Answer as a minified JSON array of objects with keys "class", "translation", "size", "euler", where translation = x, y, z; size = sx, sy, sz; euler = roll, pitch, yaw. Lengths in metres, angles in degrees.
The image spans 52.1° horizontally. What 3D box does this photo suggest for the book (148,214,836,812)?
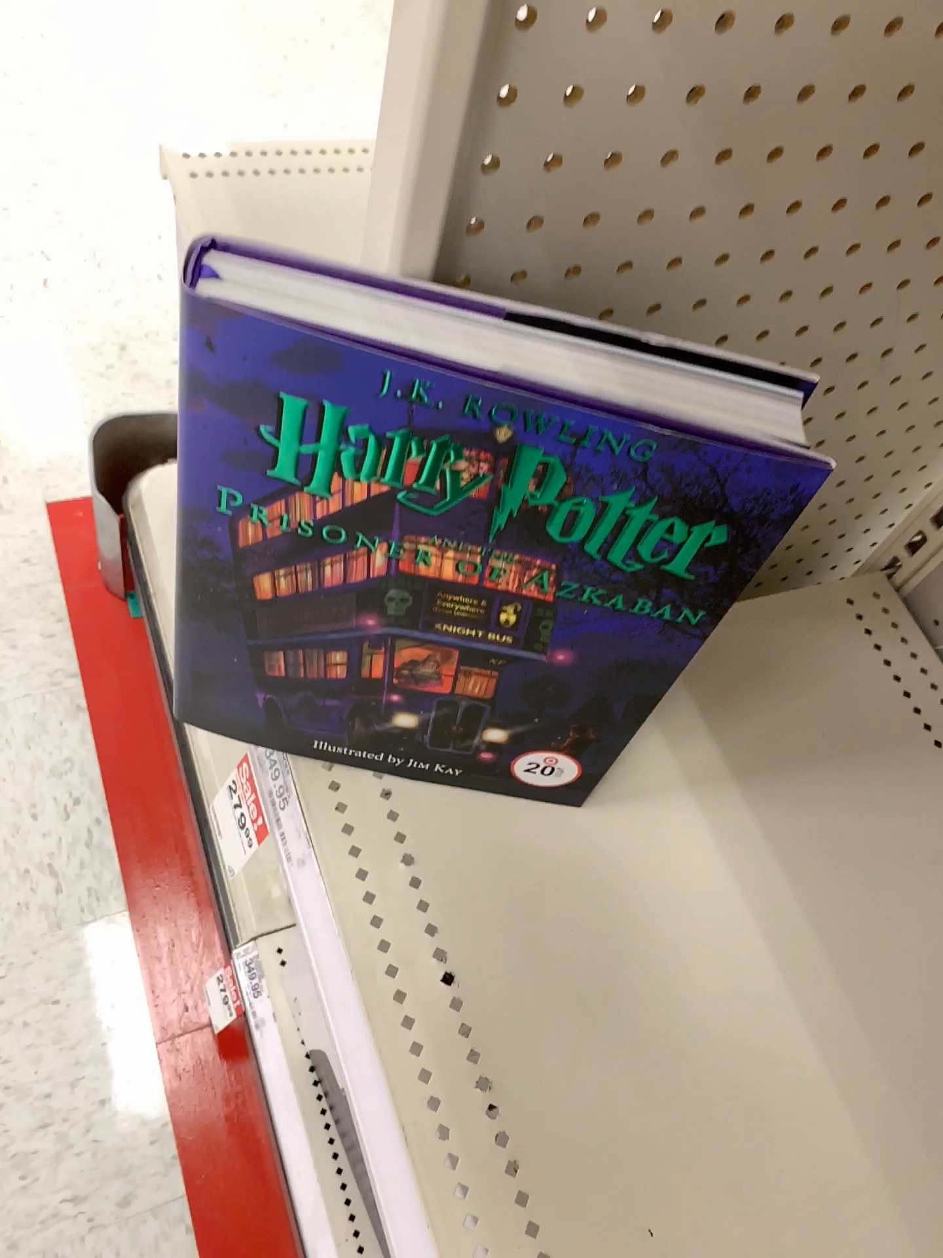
[{"class":"book","translation":[-0.016,-0.021,0.451],"size":[0.240,0.281,0.050],"euler":[12,52,-7]}]
